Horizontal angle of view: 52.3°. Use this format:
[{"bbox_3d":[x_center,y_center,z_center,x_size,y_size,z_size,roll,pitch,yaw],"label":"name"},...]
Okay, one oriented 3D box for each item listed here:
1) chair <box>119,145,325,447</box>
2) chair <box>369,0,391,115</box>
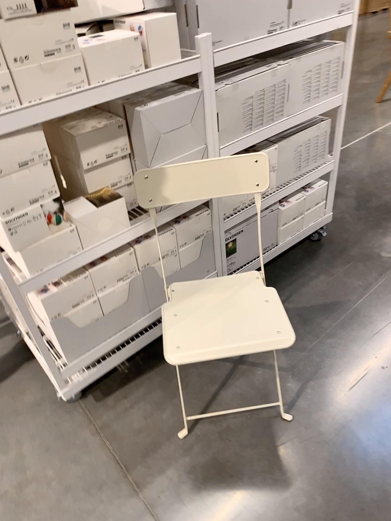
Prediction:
[{"bbox_3d":[0.070,0.130,1.252,0.437,0.783,0.459,-9,37,-2],"label":"chair"},{"bbox_3d":[1.933,-1.741,3.372,0.538,0.763,0.549,-30,43,-27],"label":"chair"}]
